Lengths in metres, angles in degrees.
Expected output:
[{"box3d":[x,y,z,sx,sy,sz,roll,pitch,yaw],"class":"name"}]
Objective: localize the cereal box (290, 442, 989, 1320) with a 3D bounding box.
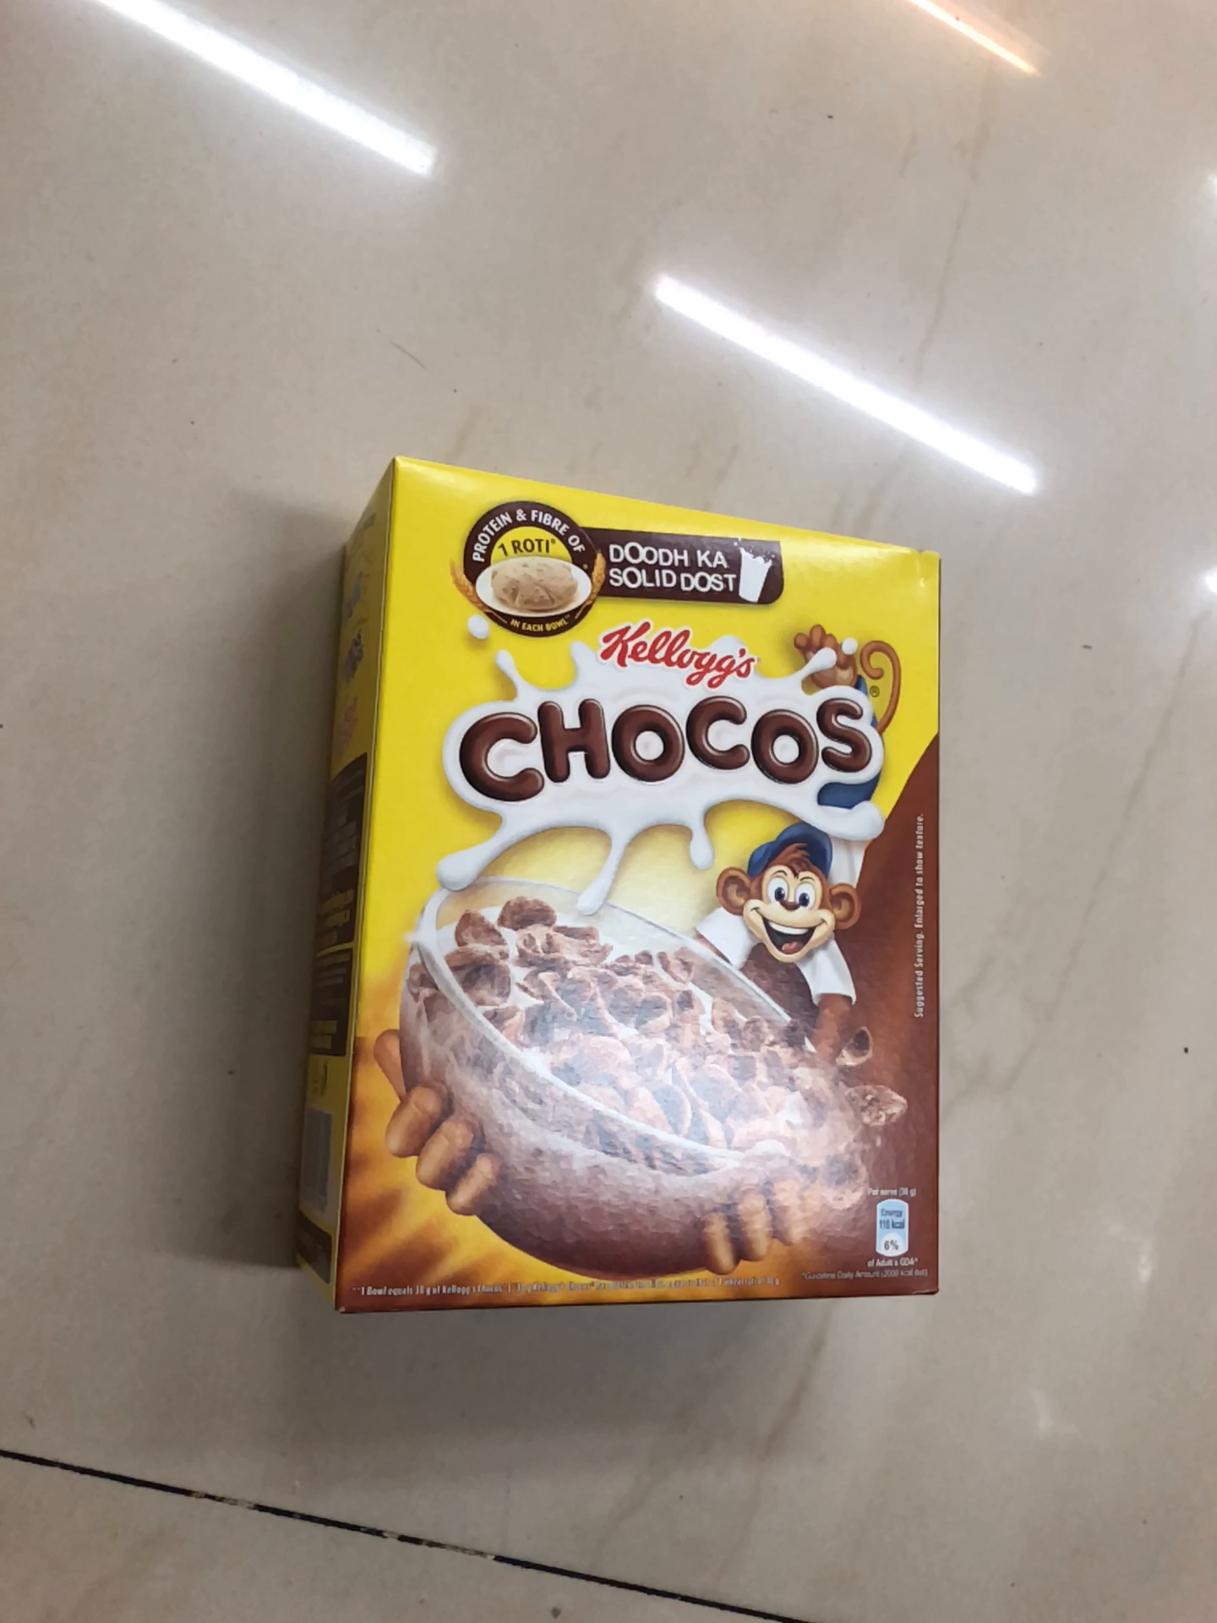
[{"box3d":[0.010,0.019,0.309,0.140,0.050,0.170,6,83,-20],"class":"cereal box"}]
